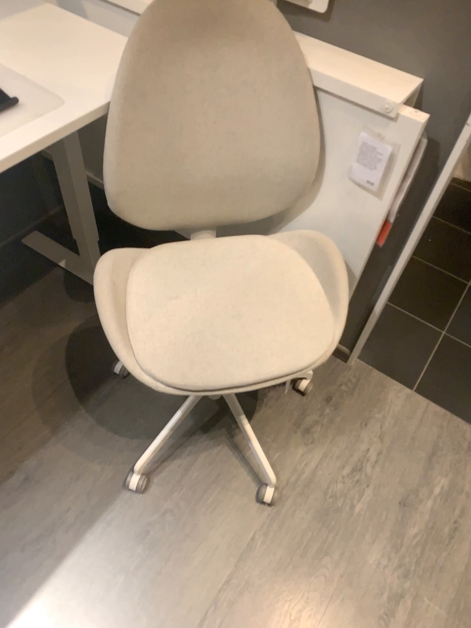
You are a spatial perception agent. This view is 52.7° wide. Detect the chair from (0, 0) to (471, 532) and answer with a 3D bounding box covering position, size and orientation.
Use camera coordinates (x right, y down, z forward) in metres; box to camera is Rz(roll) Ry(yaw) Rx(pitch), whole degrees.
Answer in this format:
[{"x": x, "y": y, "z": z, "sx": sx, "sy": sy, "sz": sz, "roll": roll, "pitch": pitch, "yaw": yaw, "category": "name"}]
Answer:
[{"x": -0.013, "y": -0.022, "z": 0.956, "sx": 0.610, "sy": 0.937, "sz": 0.592, "roll": -2, "pitch": 52, "yaw": -7, "category": "chair"}]
